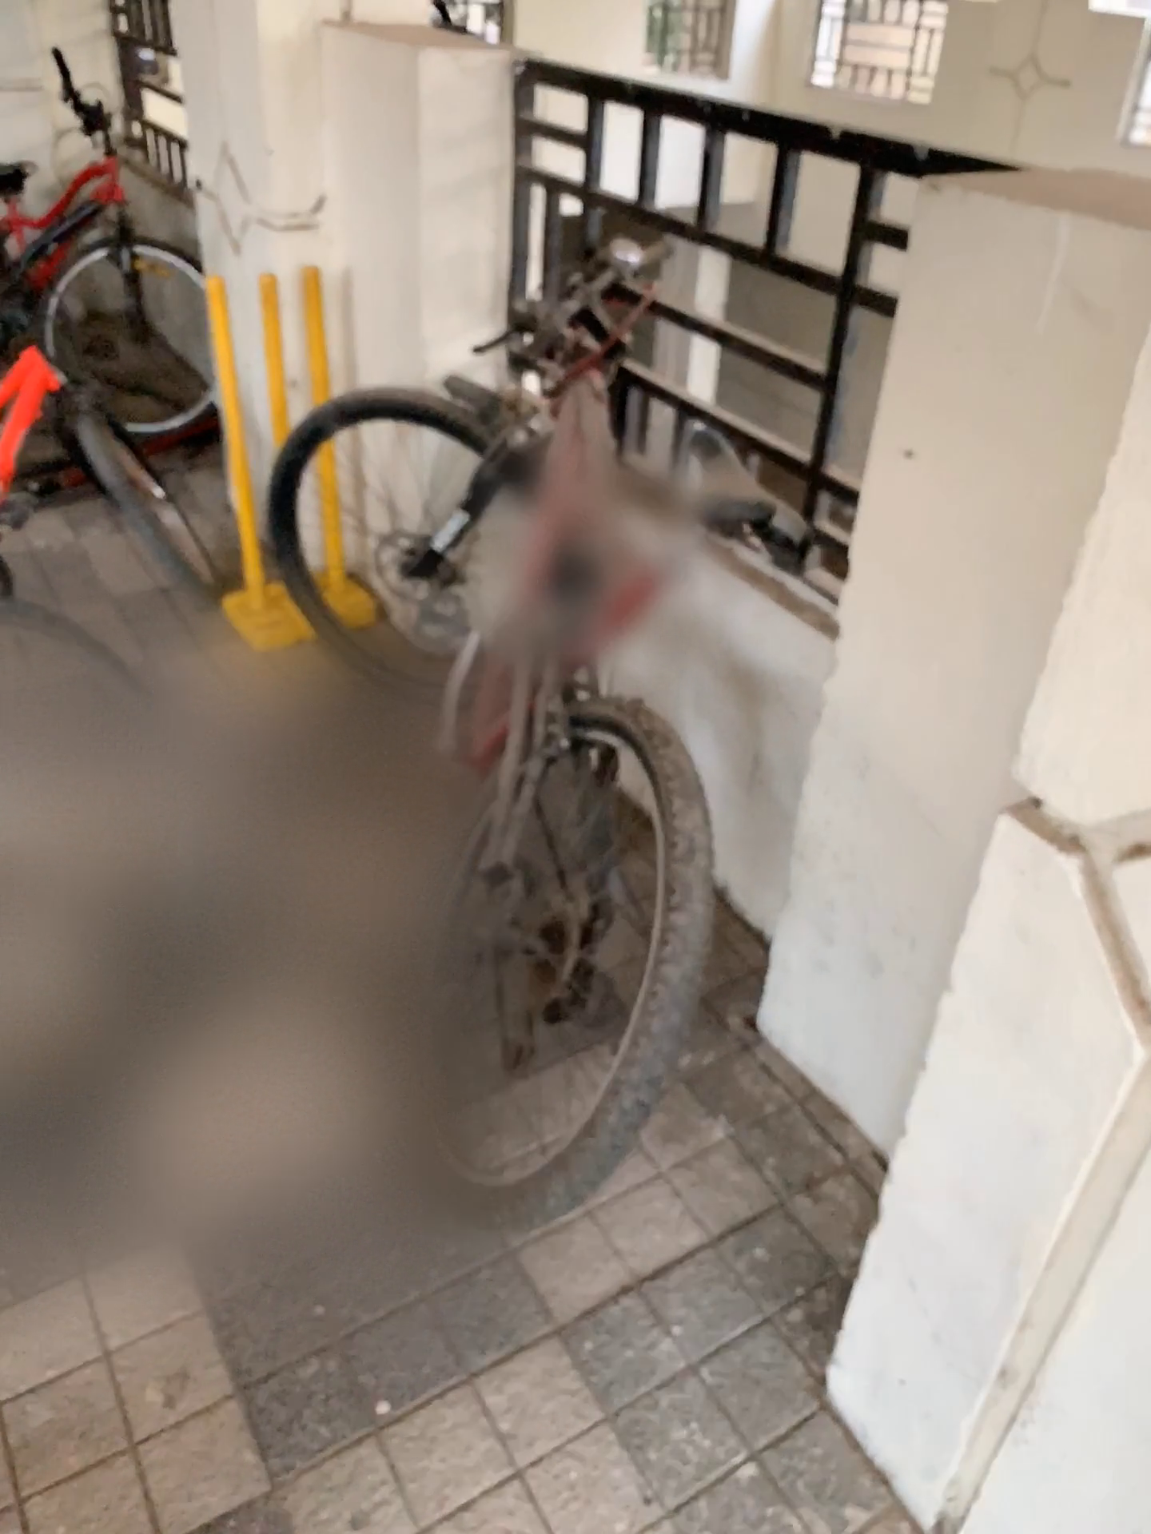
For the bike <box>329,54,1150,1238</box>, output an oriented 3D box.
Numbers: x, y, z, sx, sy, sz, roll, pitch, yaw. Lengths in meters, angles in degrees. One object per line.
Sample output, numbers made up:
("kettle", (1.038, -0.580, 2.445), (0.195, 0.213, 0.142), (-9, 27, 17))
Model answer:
("bike", (0.116, -0.339, 1.750), (0.608, 0.830, 1.471), (-10, 44, -18))
